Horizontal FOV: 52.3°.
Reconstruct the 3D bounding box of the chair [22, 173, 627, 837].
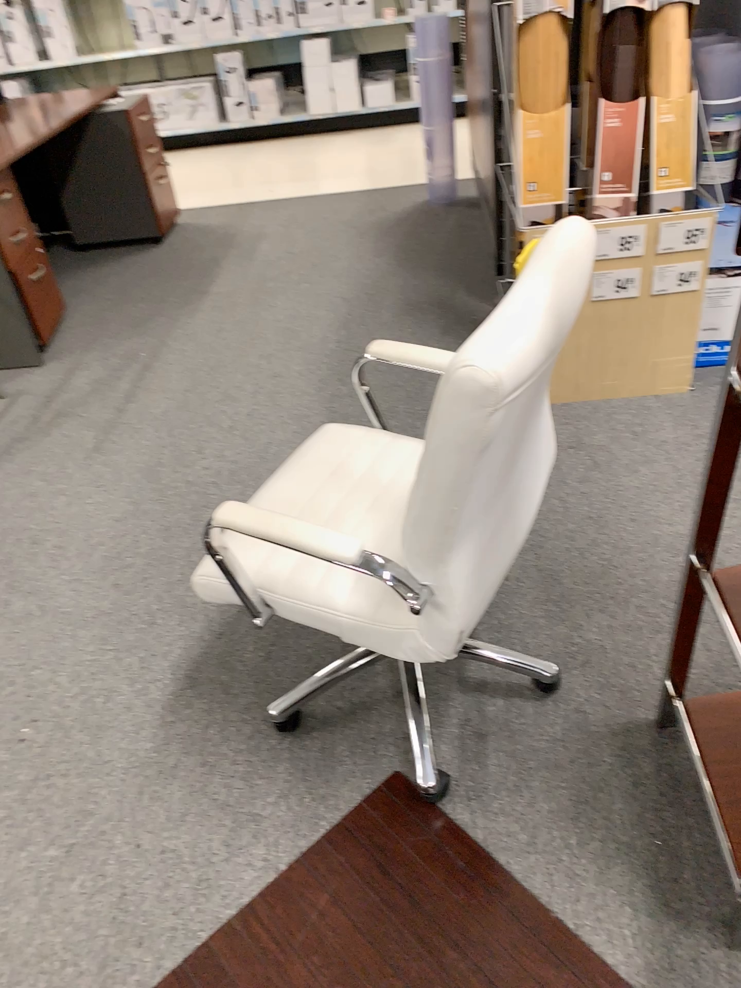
[{"bbox_3d":[0.008,-0.016,1.390,0.682,0.905,0.622,14,43,27],"label":"chair"}]
